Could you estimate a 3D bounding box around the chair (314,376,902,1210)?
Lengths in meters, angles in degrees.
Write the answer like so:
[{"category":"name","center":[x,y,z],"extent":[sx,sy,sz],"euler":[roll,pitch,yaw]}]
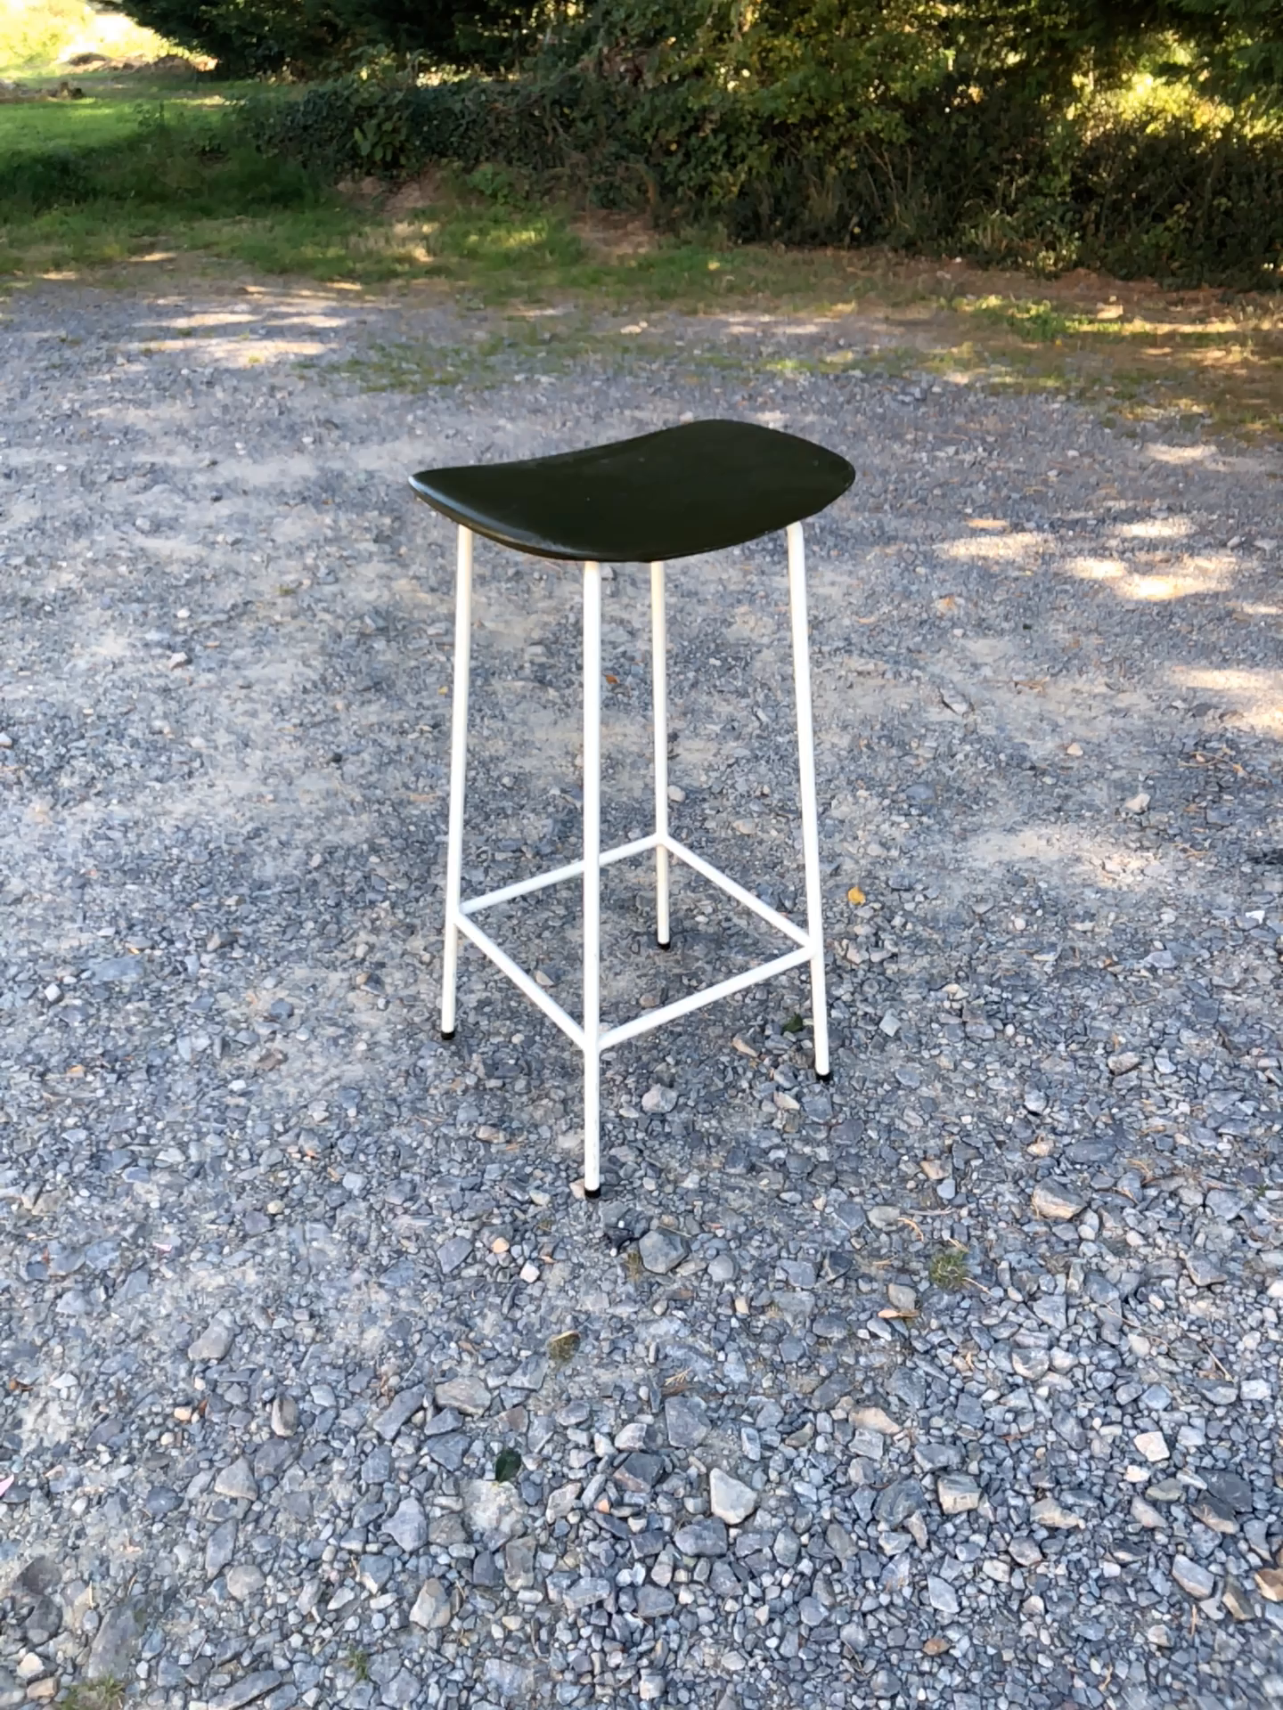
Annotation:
[{"category":"chair","center":[-0.019,-0.079,1.376],"extent":[0.371,0.646,0.371],"euler":[-21,34,-27]}]
